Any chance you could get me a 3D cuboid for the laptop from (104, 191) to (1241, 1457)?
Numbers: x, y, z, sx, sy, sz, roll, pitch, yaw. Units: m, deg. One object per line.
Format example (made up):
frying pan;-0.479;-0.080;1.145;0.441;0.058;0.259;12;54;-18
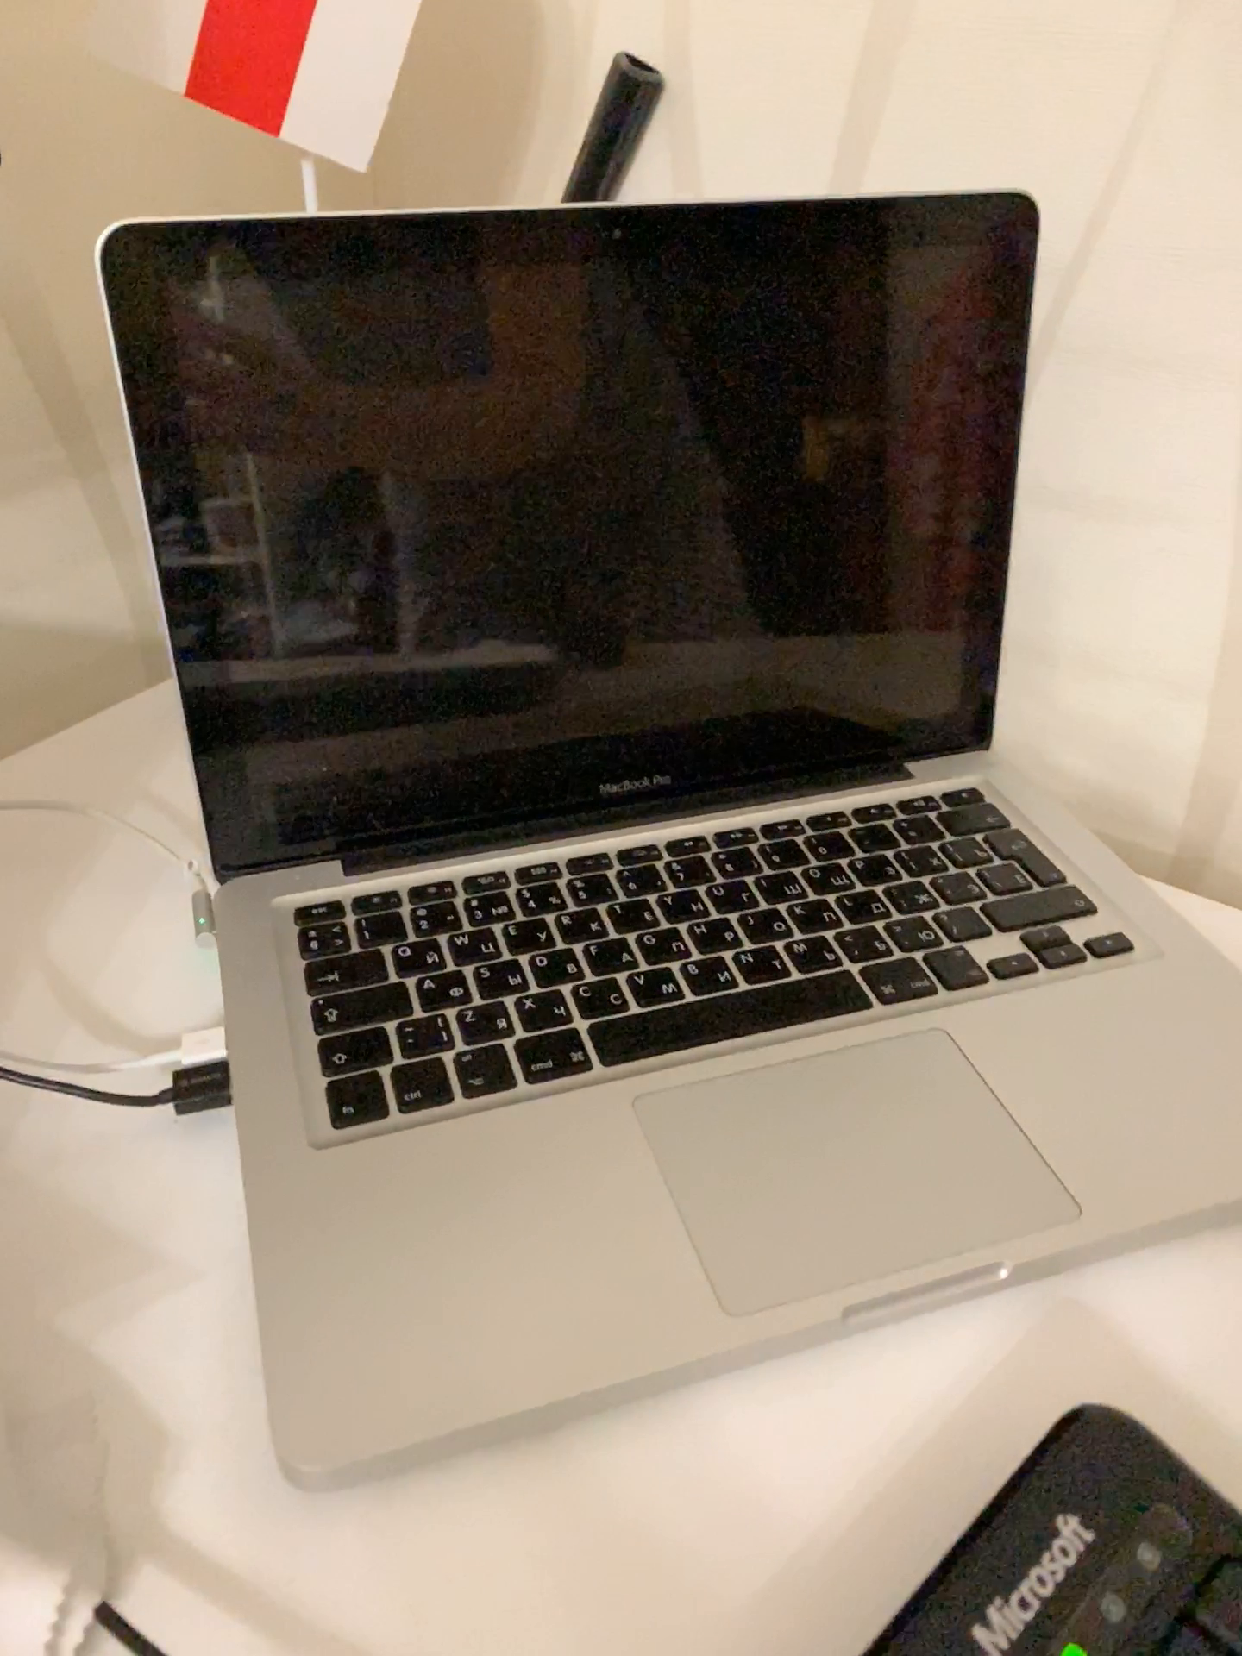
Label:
laptop;0.035;-0.043;0.358;0.300;0.196;0.250;-10;36;-16
